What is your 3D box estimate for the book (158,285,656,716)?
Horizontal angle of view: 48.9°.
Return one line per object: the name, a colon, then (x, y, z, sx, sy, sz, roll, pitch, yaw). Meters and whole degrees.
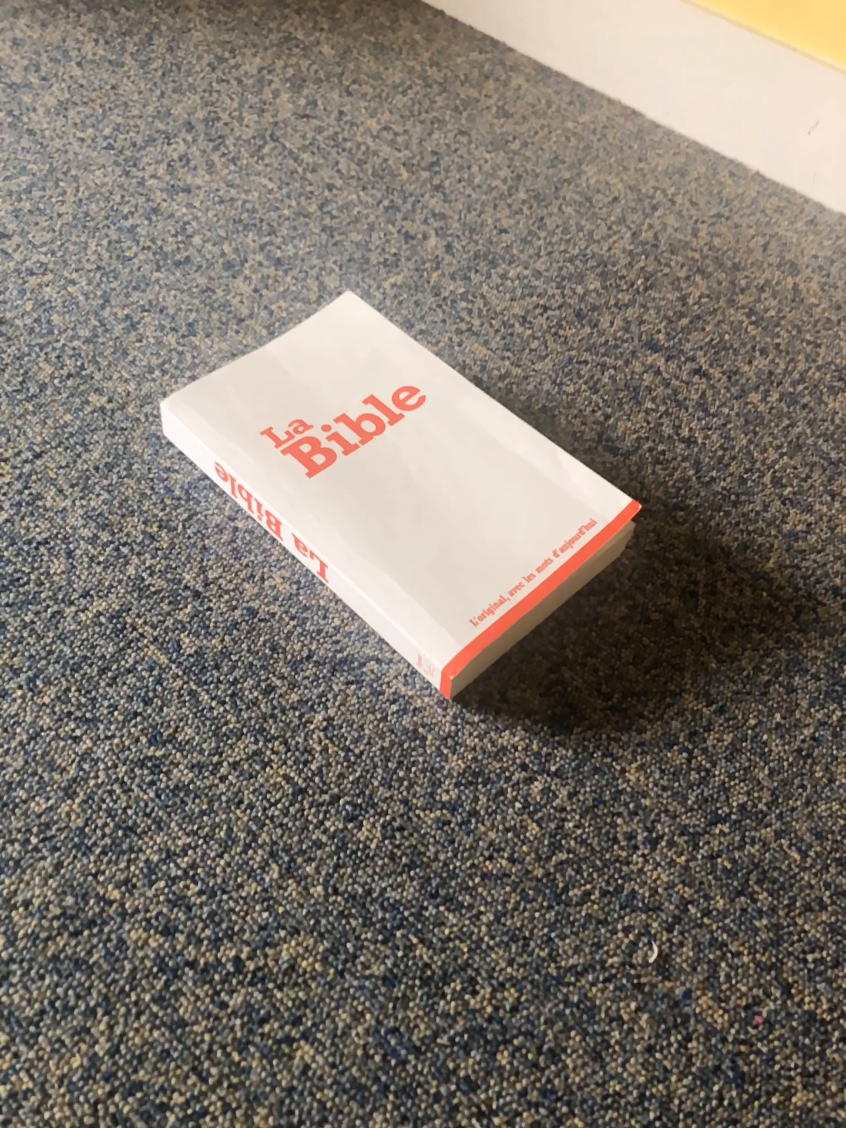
book: (-0.011, -0.044, 0.469, 0.211, 0.042, 0.134, 41, 59, 21)
